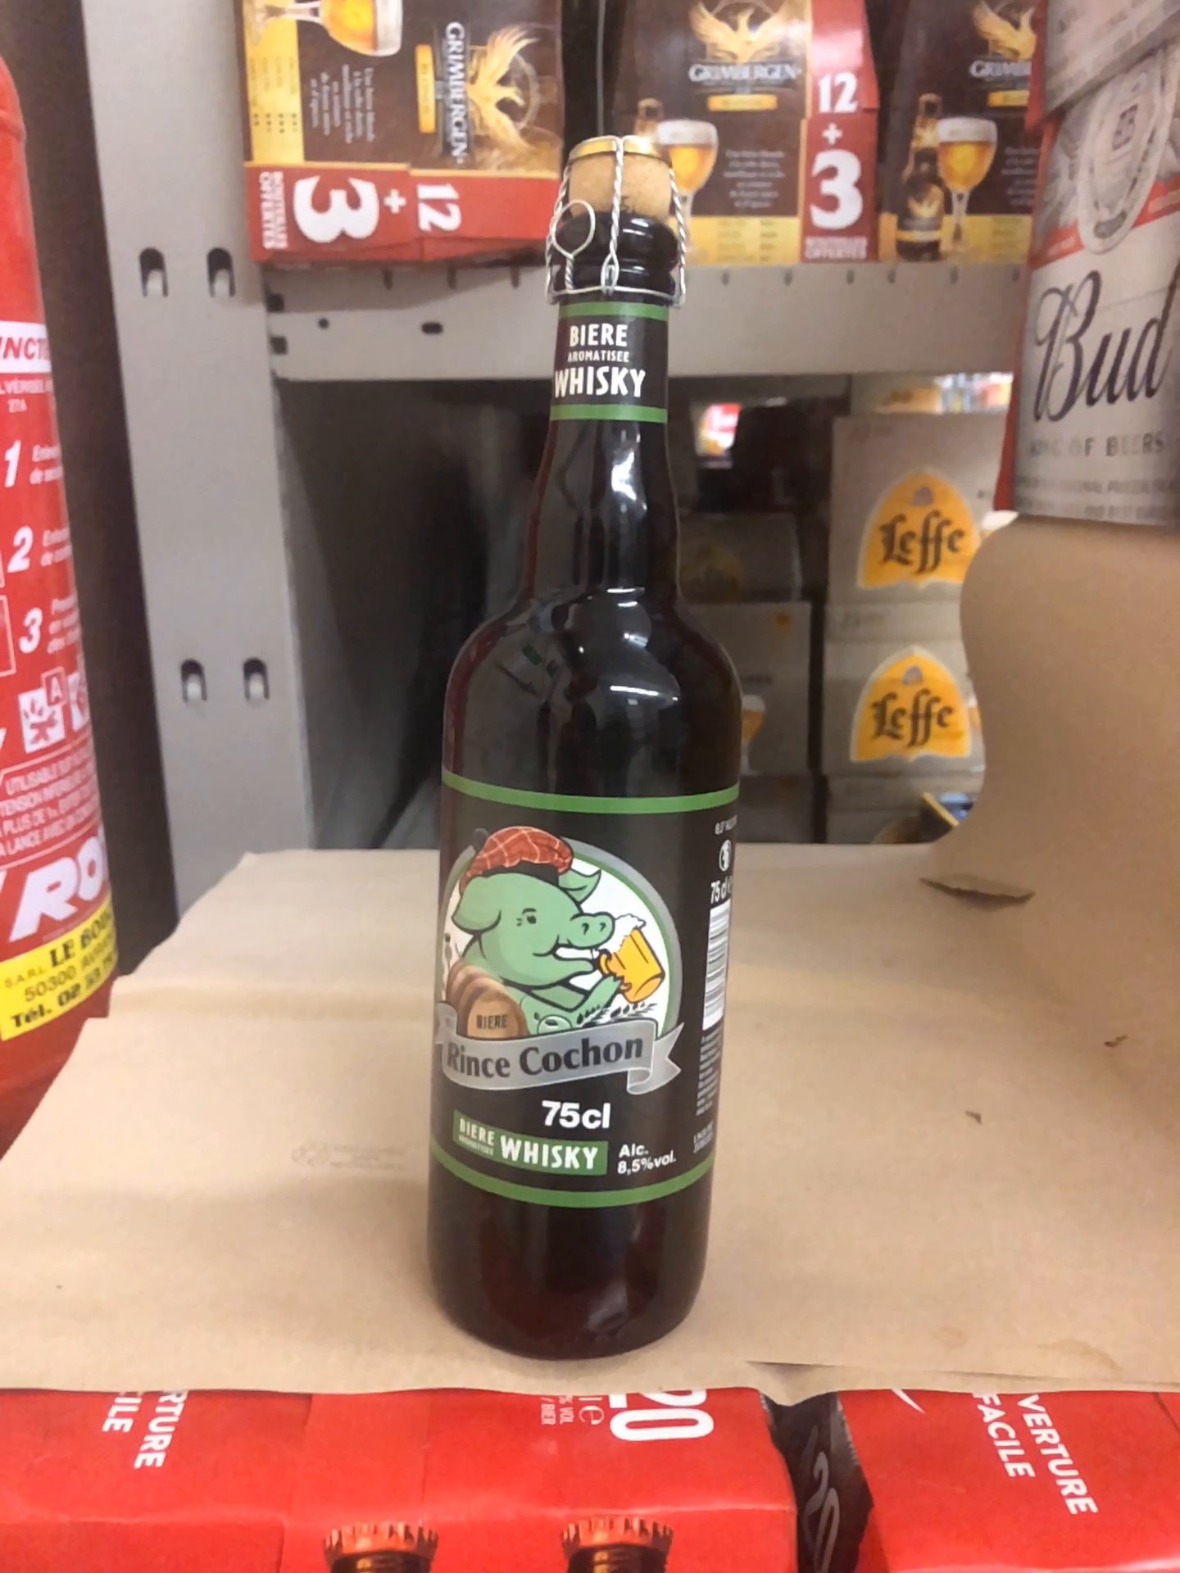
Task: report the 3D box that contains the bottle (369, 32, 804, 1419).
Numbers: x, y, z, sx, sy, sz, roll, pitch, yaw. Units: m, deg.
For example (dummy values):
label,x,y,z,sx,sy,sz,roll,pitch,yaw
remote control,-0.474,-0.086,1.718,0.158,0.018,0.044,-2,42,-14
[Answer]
label,x,y,z,sx,sy,sz,roll,pitch,yaw
bottle,0.002,-0.010,0.326,0.090,0.299,0.080,2,8,9
